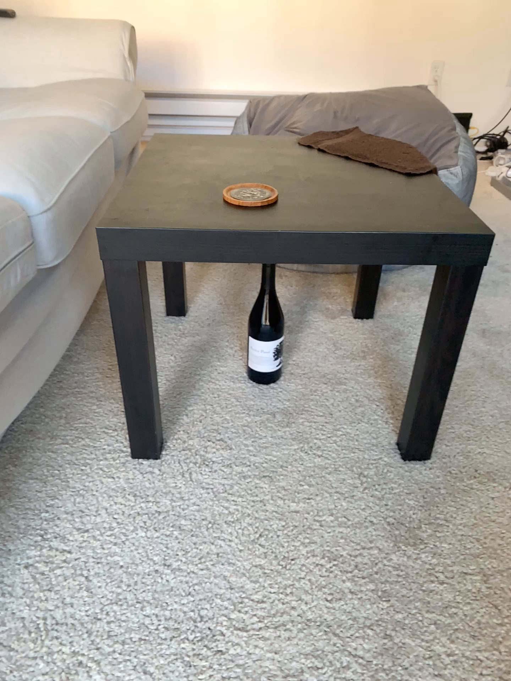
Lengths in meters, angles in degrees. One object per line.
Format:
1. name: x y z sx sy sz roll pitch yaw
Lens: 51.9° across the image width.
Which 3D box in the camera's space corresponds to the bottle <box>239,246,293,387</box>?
1. bottle: 0.016 -0.045 1.106 0.090 0.288 0.091 1 35 -1
